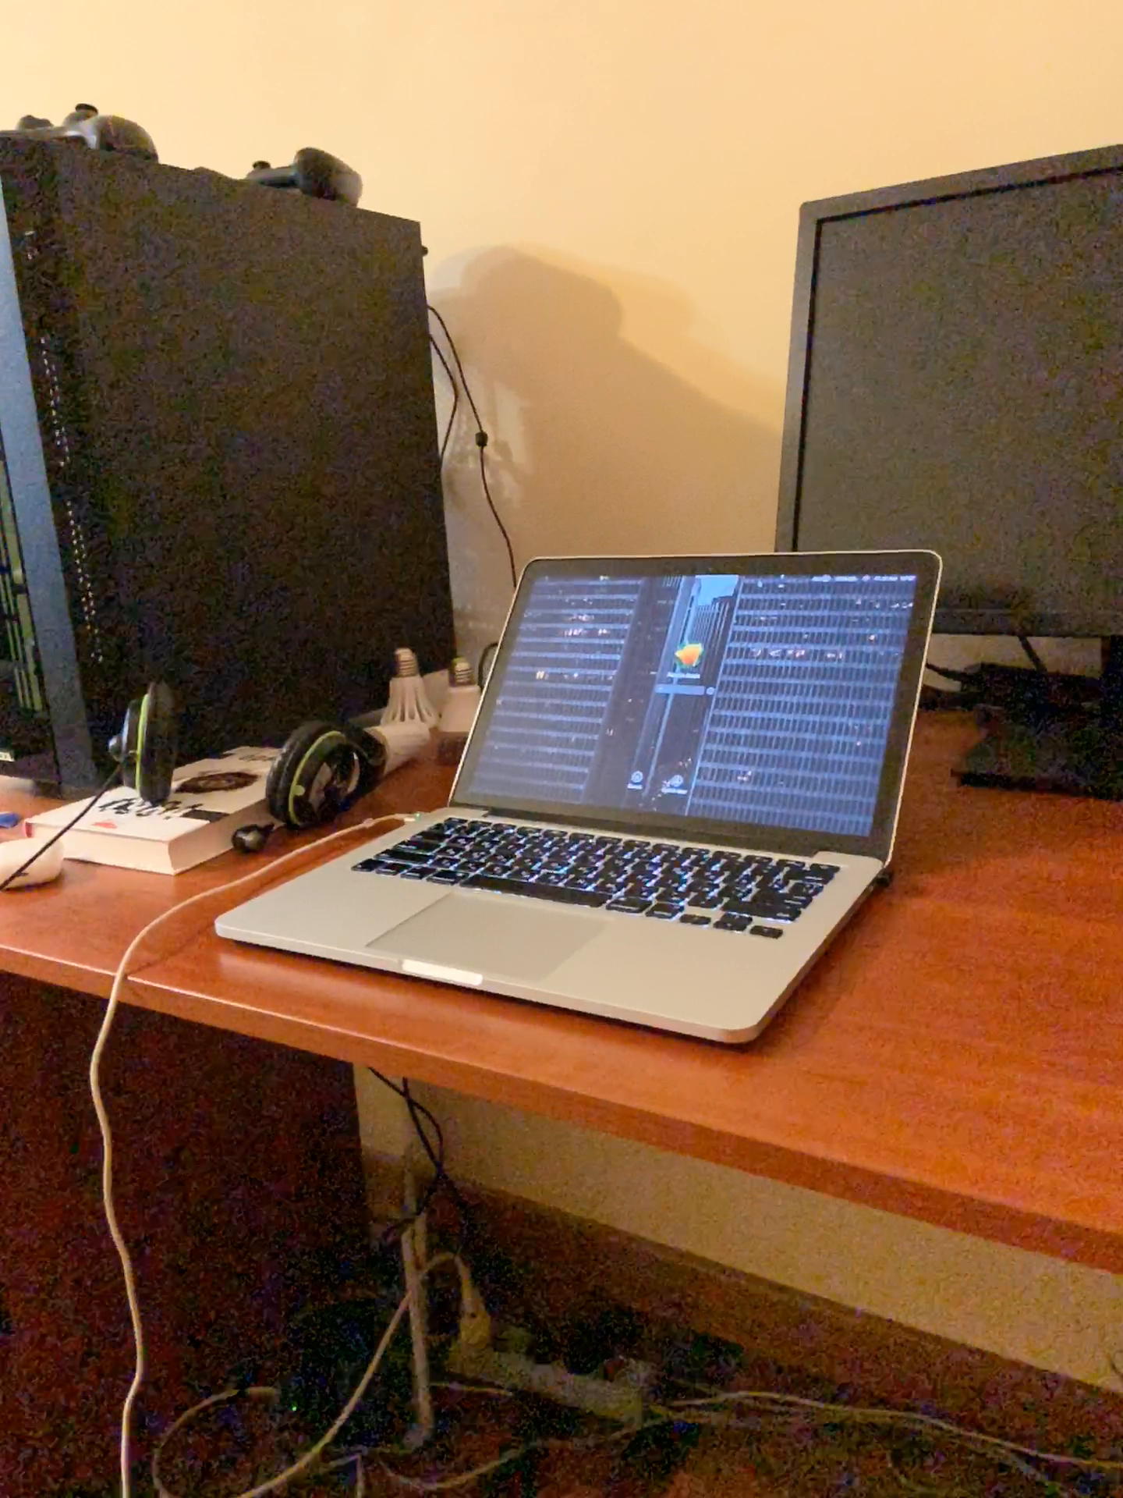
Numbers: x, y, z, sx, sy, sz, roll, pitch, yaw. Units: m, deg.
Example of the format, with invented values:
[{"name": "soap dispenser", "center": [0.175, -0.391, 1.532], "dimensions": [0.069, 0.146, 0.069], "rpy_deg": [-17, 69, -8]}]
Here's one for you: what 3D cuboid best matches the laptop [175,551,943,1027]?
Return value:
[{"name": "laptop", "center": [0.027, -0.015, 0.664], "dimensions": [0.300, 0.155, 0.341], "rpy_deg": [5, 17, 29]}]
